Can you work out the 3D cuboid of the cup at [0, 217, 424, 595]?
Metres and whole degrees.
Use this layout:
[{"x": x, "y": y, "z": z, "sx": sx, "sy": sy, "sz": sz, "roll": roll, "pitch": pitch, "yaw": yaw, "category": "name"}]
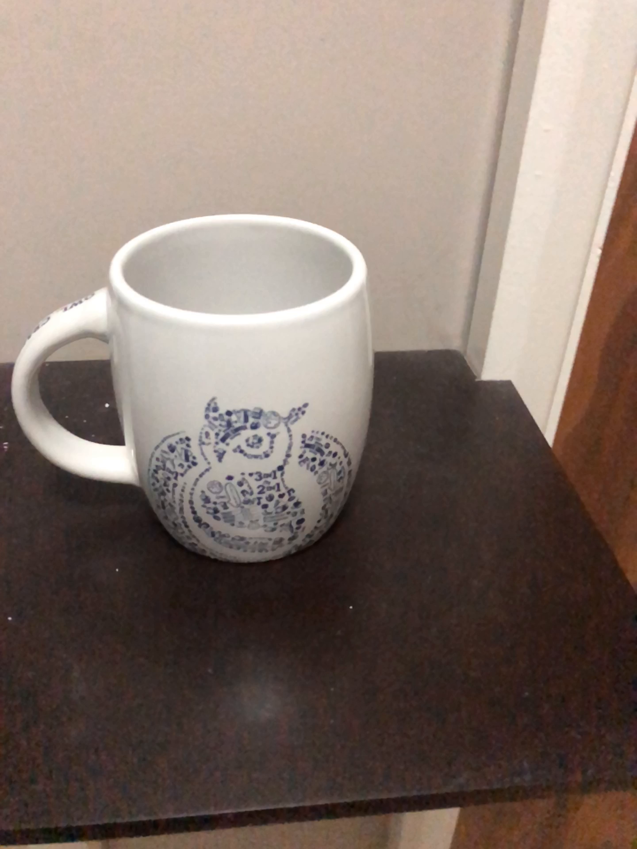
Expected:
[{"x": -0.044, "y": -0.013, "z": 0.232, "sx": 0.130, "sy": 0.079, "sz": 0.101, "roll": -1, "pitch": 34, "yaw": -4, "category": "cup"}]
